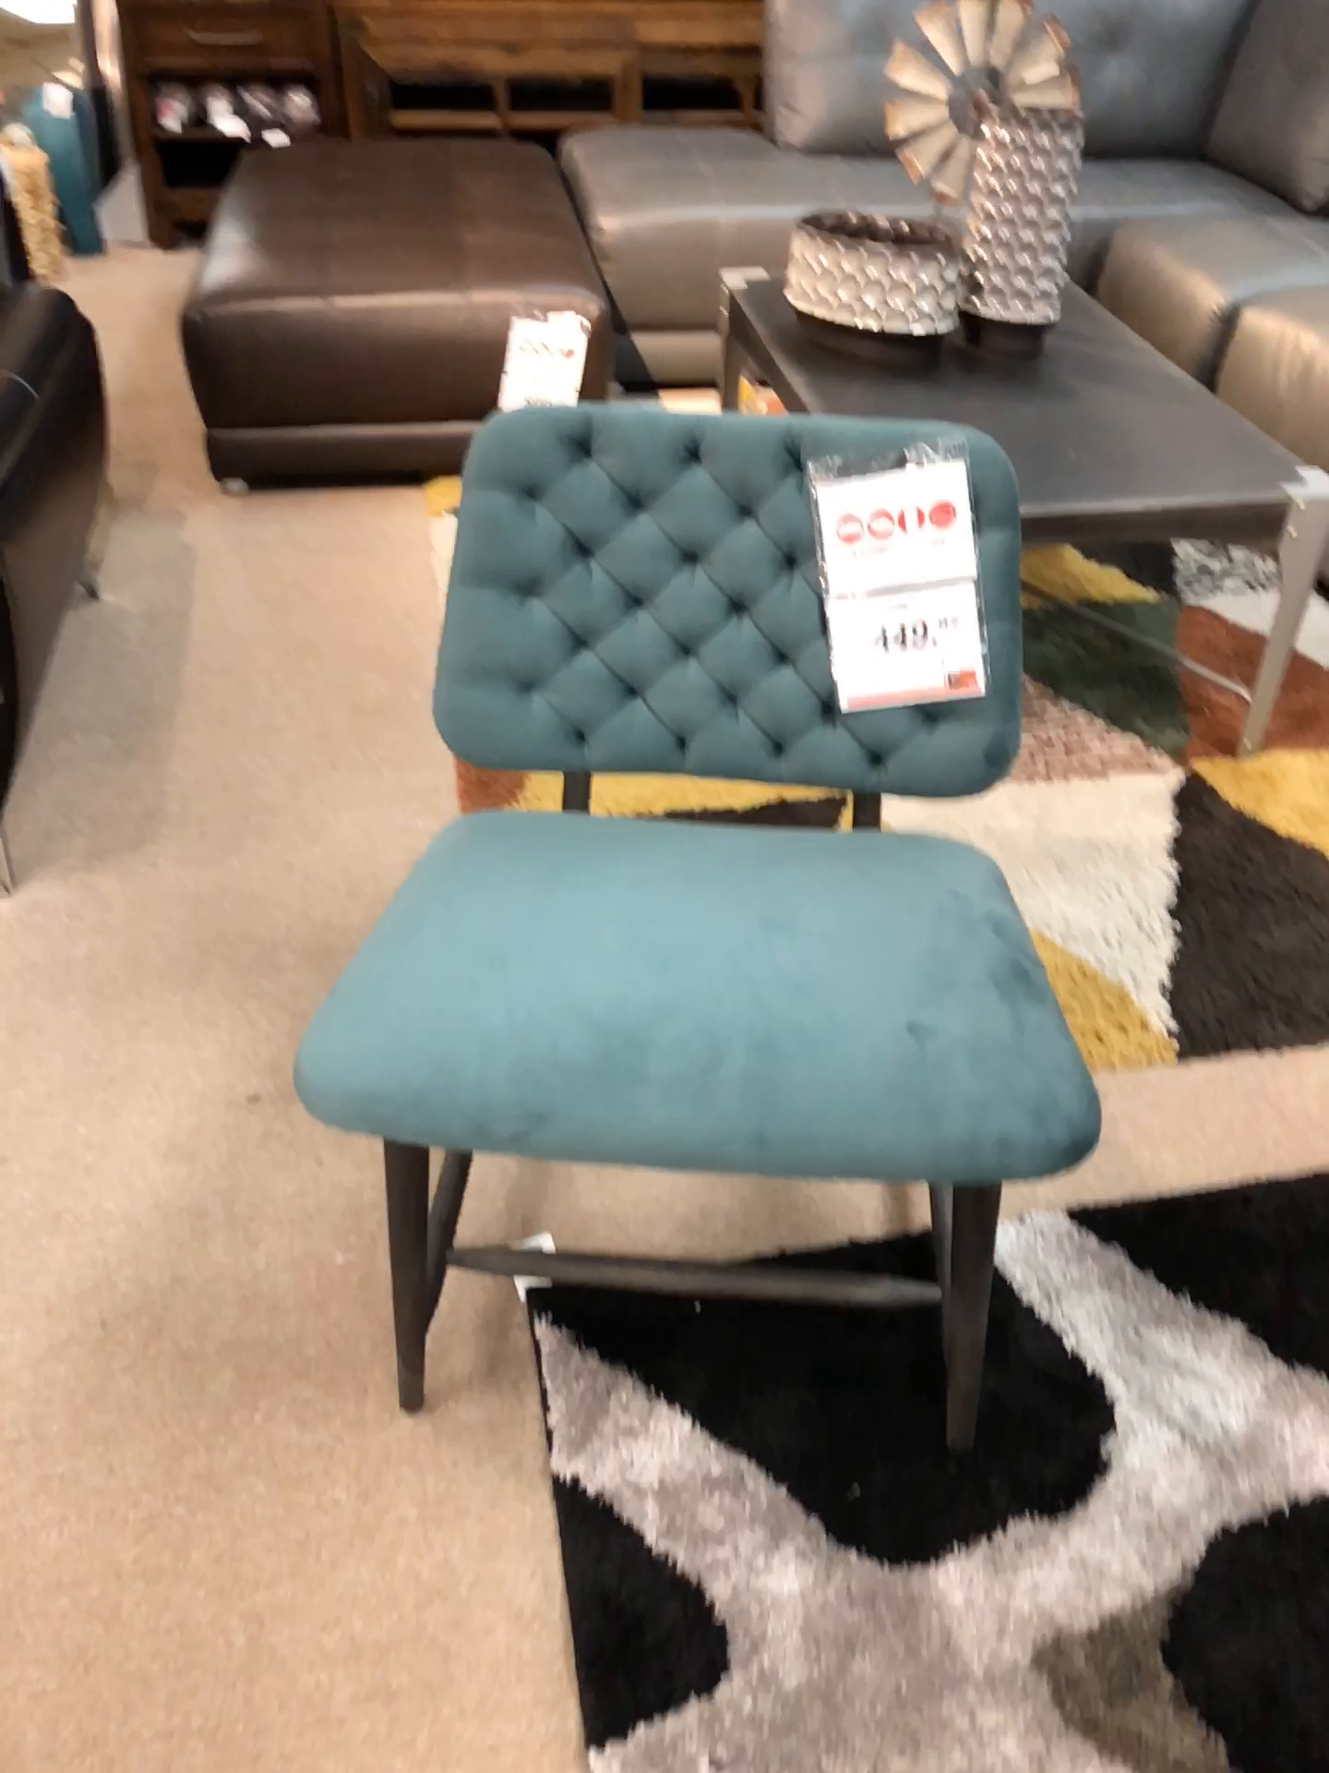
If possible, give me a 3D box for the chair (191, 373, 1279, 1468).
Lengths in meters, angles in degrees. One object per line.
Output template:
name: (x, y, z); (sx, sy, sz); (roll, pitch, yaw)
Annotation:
chair: (0.035, 0.039, 1.292); (0.639, 0.765, 0.534); (4, 38, 1)
